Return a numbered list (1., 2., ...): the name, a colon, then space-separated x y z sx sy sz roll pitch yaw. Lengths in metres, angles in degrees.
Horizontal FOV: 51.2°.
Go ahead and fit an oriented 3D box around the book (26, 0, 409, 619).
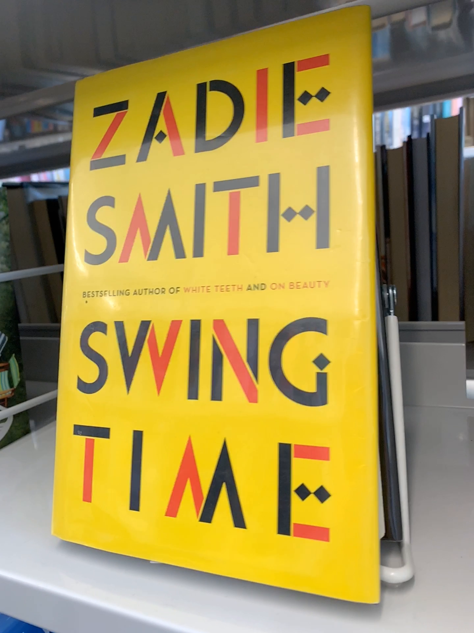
1. book: -0.008 -0.008 0.242 0.168 0.233 0.060 -1 -7 23
